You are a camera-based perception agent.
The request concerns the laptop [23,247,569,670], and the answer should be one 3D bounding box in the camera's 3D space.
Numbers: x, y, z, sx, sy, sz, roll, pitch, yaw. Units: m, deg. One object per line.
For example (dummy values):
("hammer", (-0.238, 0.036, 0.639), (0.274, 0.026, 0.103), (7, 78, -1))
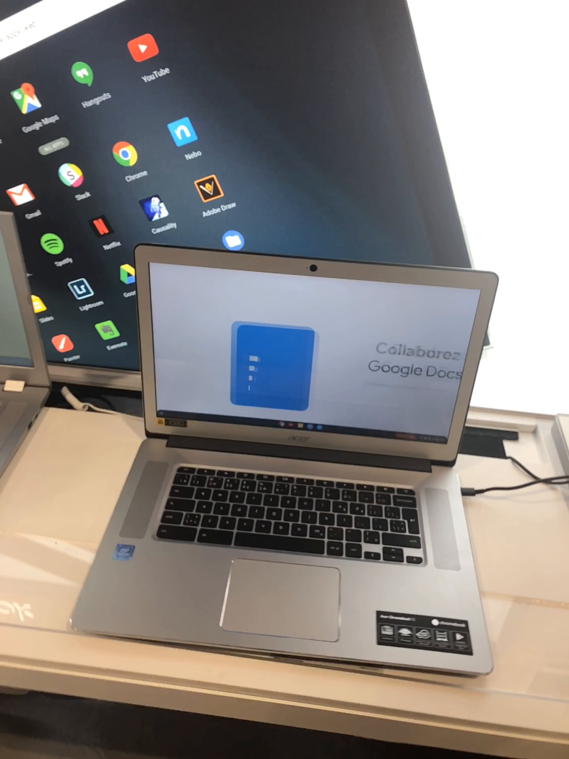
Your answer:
("laptop", (0.012, 0.061, 0.608), (0.371, 0.242, 0.283), (5, 37, 2))
